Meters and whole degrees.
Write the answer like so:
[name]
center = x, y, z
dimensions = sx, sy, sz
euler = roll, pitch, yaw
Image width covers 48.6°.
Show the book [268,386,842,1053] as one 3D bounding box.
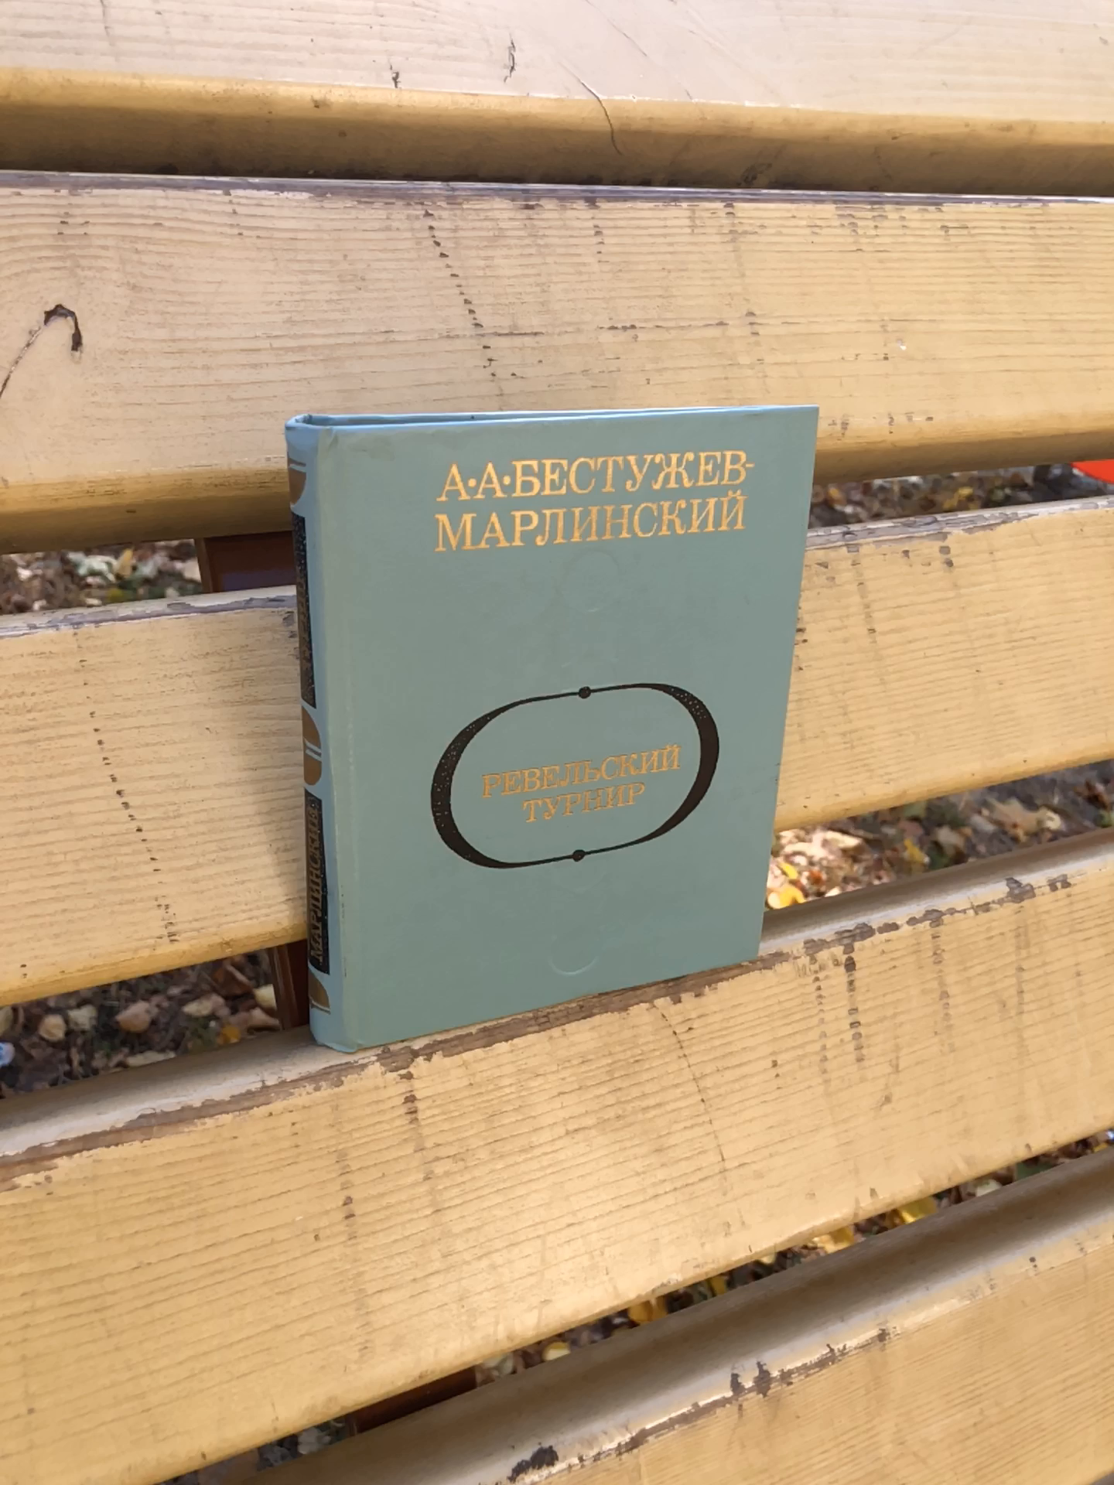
[book]
center = 0.001, -0.005, 0.335
dimensions = 0.140, 0.169, 0.022
euler = -8, 26, -18
